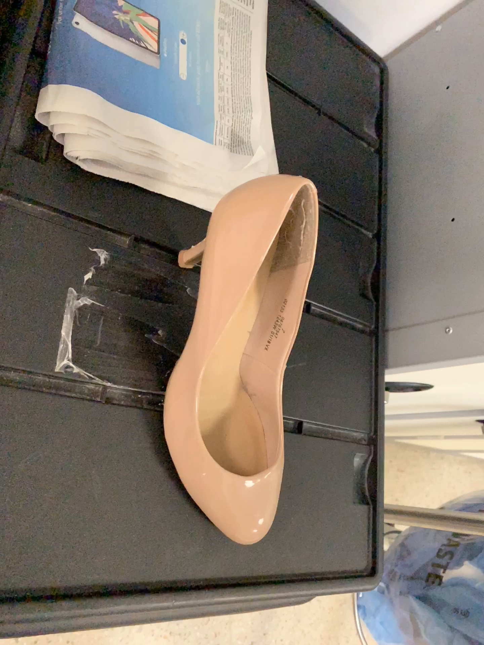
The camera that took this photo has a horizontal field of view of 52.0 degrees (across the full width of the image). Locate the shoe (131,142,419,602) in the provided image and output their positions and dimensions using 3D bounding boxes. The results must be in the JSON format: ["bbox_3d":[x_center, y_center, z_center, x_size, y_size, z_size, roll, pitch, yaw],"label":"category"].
[{"bbox_3d":[0.011,0.030,0.341,0.097,0.140,0.239,-1,80,-38],"label":"shoe"}]
